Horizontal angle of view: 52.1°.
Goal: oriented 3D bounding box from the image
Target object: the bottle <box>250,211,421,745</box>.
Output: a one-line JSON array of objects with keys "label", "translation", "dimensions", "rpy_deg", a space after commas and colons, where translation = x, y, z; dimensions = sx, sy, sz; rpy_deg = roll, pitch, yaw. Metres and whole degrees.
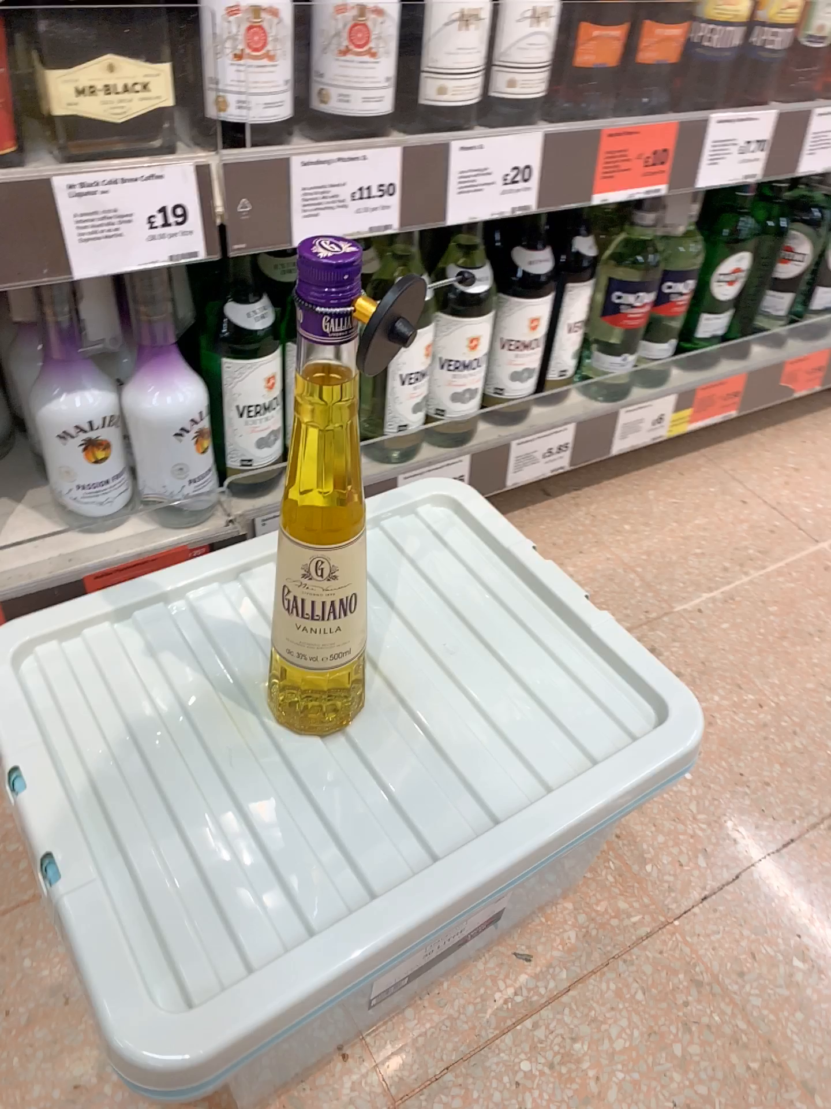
[{"label": "bottle", "translation": [-0.056, -0.020, 0.517], "dimensions": [0.072, 0.347, 0.071], "rpy_deg": [4, 42, -4]}]
